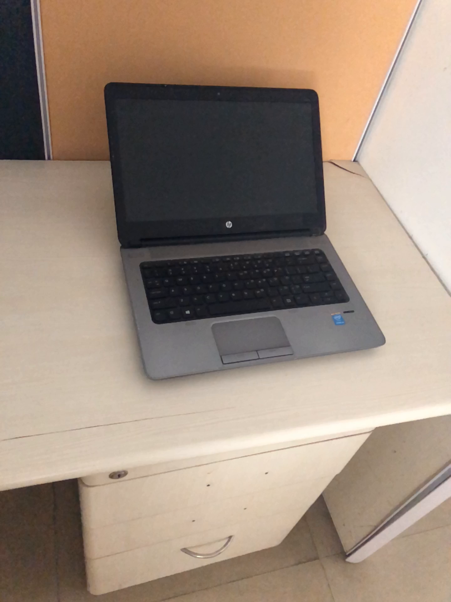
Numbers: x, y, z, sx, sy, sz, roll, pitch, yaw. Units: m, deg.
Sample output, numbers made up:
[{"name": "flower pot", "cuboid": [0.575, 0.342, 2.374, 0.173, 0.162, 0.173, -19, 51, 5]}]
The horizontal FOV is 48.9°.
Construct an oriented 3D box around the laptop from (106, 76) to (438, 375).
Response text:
[{"name": "laptop", "cuboid": [0.027, -0.128, 0.692, 0.324, 0.167, 0.372, -6, 52, -19]}]
